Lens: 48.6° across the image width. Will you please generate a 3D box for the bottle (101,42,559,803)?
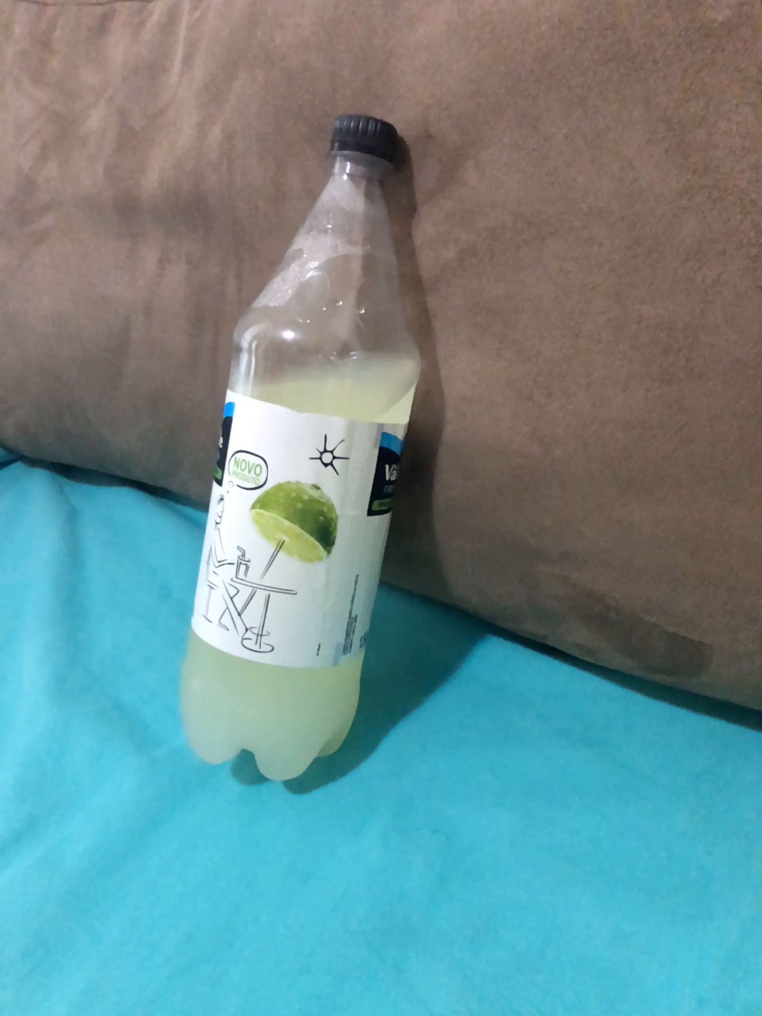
[{"bbox_3d":[-0.026,-0.037,0.422,0.100,0.330,0.100,17,2,-1],"label":"bottle"}]
